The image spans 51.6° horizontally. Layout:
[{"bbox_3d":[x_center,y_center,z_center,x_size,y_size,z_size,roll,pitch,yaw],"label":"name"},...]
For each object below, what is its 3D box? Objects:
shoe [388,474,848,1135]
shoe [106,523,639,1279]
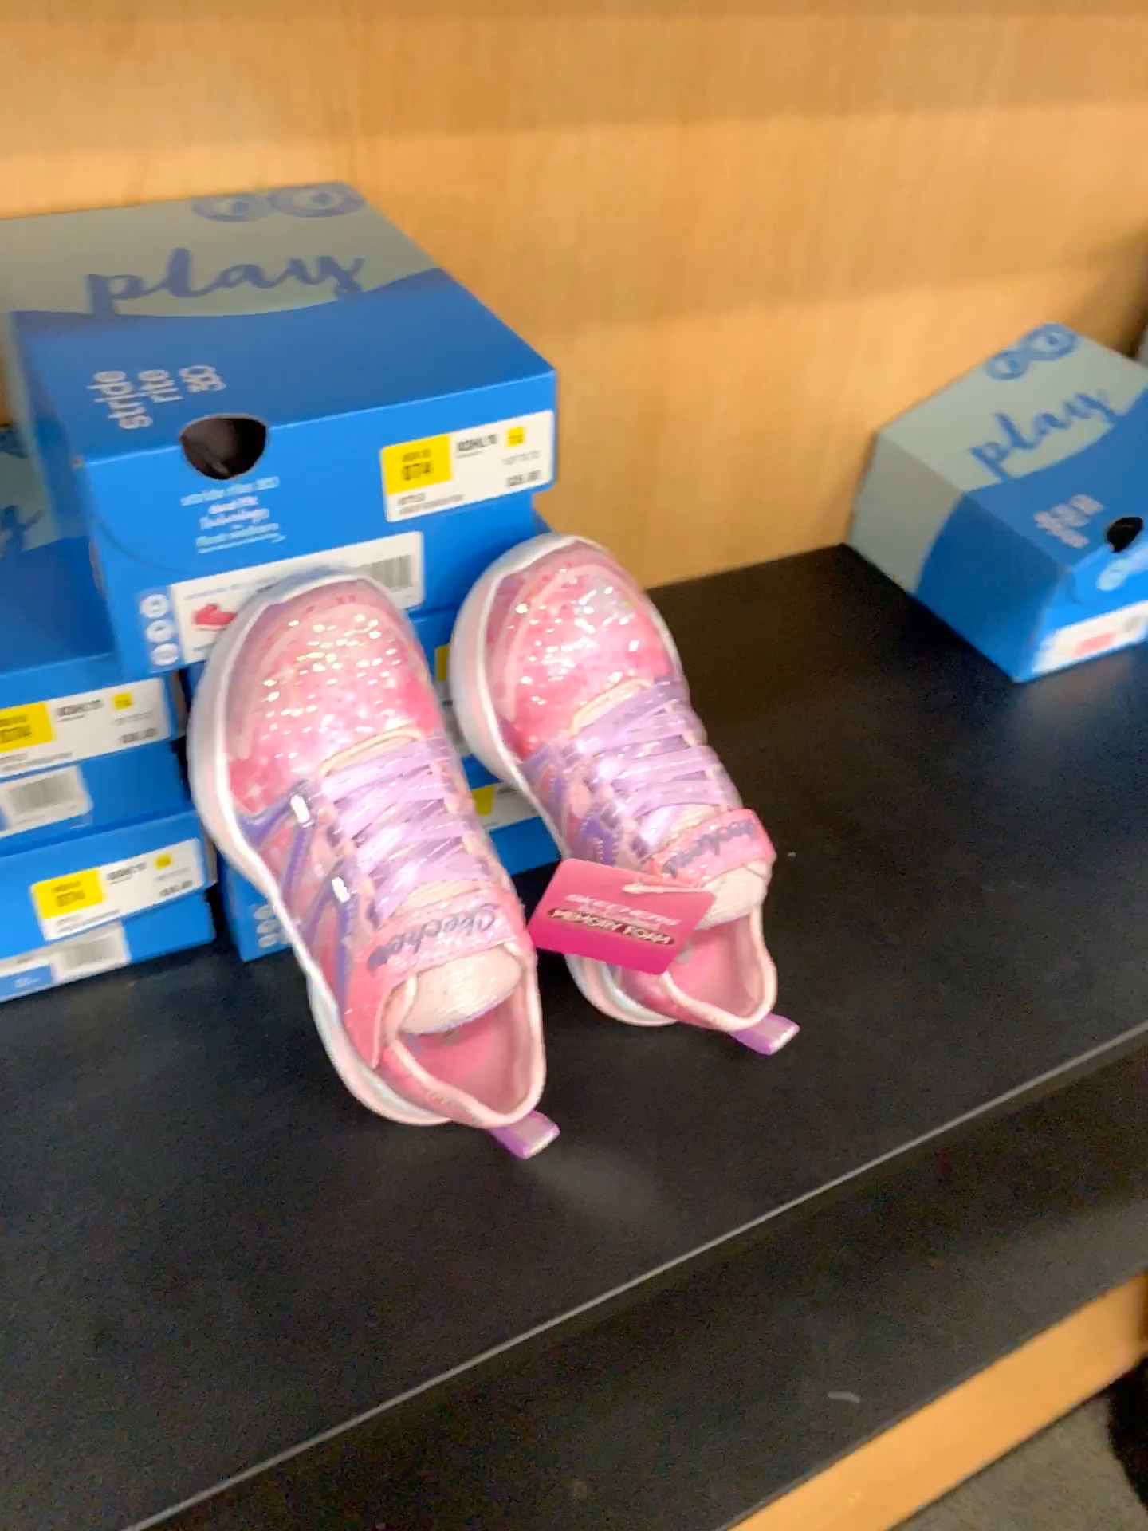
[{"bbox_3d":[0.021,0.013,0.419,0.090,0.199,0.080,-28,30,-21],"label":"shoe"},{"bbox_3d":[-0.058,0.043,0.381,0.090,0.209,0.080,-24,28,-18],"label":"shoe"}]
